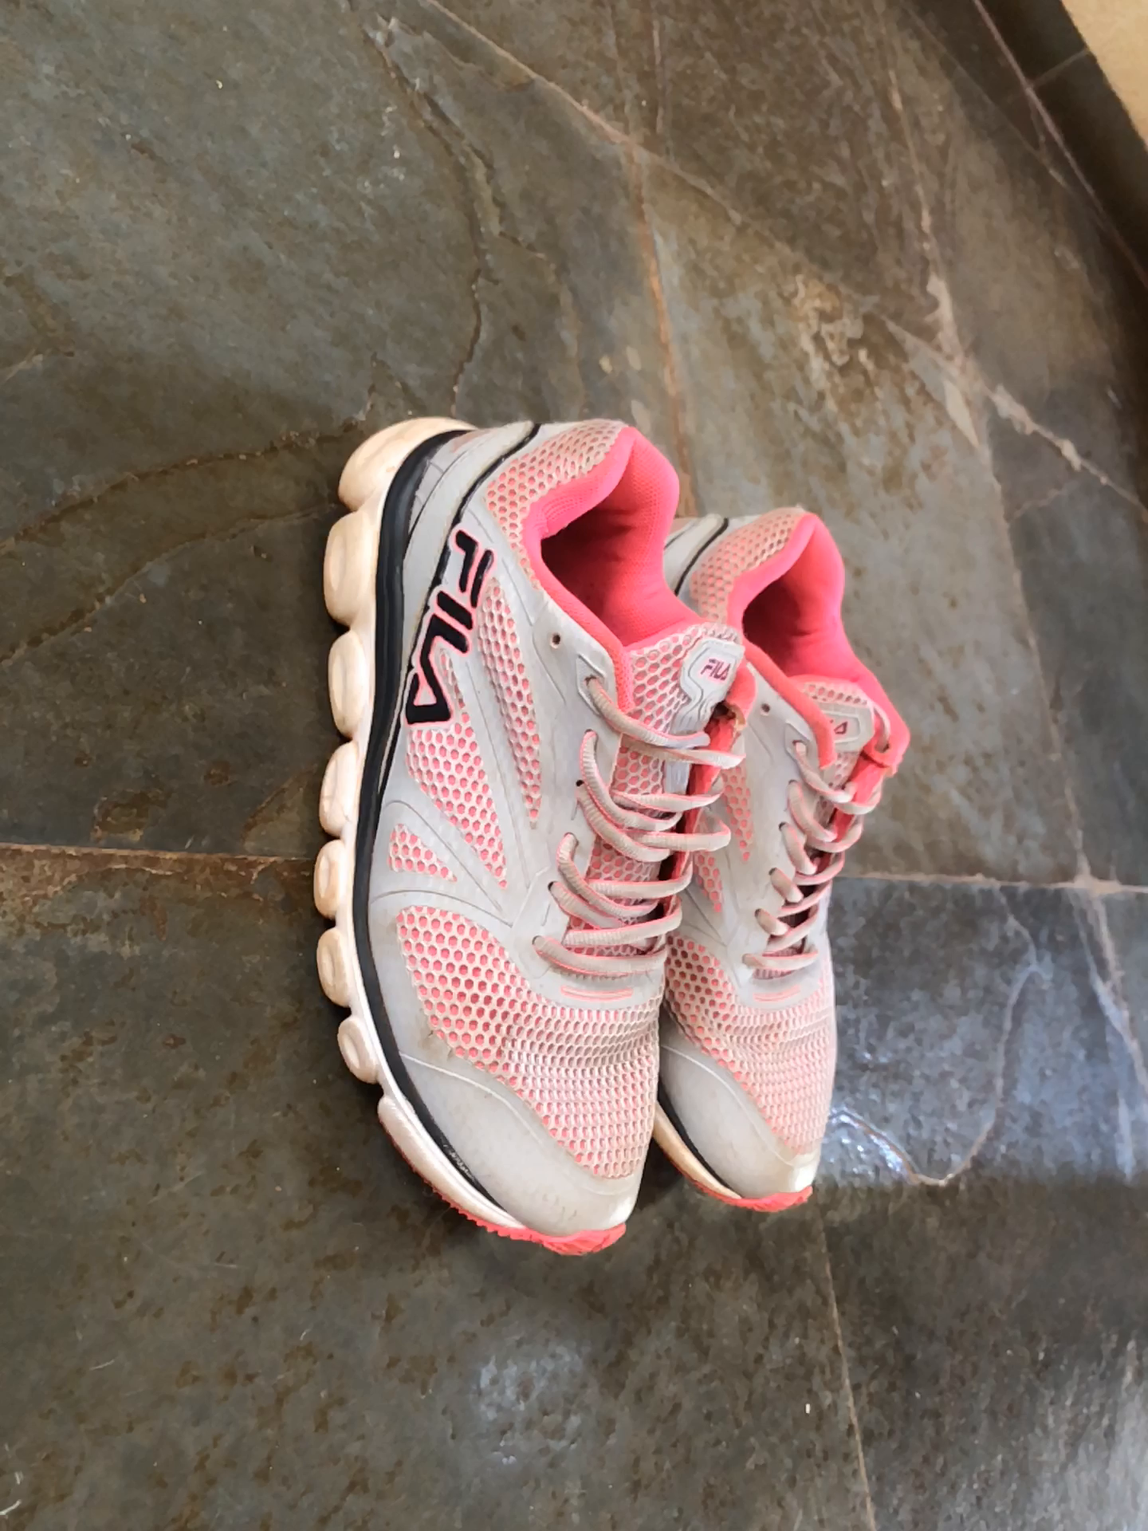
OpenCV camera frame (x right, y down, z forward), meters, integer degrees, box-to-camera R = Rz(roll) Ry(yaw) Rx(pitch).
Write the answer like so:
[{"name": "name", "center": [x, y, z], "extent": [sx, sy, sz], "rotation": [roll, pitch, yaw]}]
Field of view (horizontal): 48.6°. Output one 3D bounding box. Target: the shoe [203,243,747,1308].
[{"name": "shoe", "center": [-0.036, 0.006, 0.398], "extent": [0.111, 0.099, 0.280], "rotation": [9, 71, -47]}]

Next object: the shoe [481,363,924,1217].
[{"name": "shoe", "center": [0.045, 0.014, 0.492], "extent": [0.111, 0.099, 0.291], "rotation": [12, 68, -46]}]
